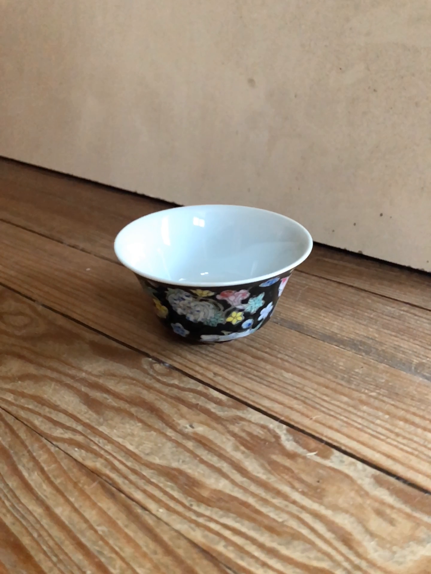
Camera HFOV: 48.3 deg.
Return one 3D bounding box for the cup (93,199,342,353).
[{"bbox_3d":[-0.001,-0.012,0.264,0.110,0.040,0.101,1,31,0],"label":"cup"}]
